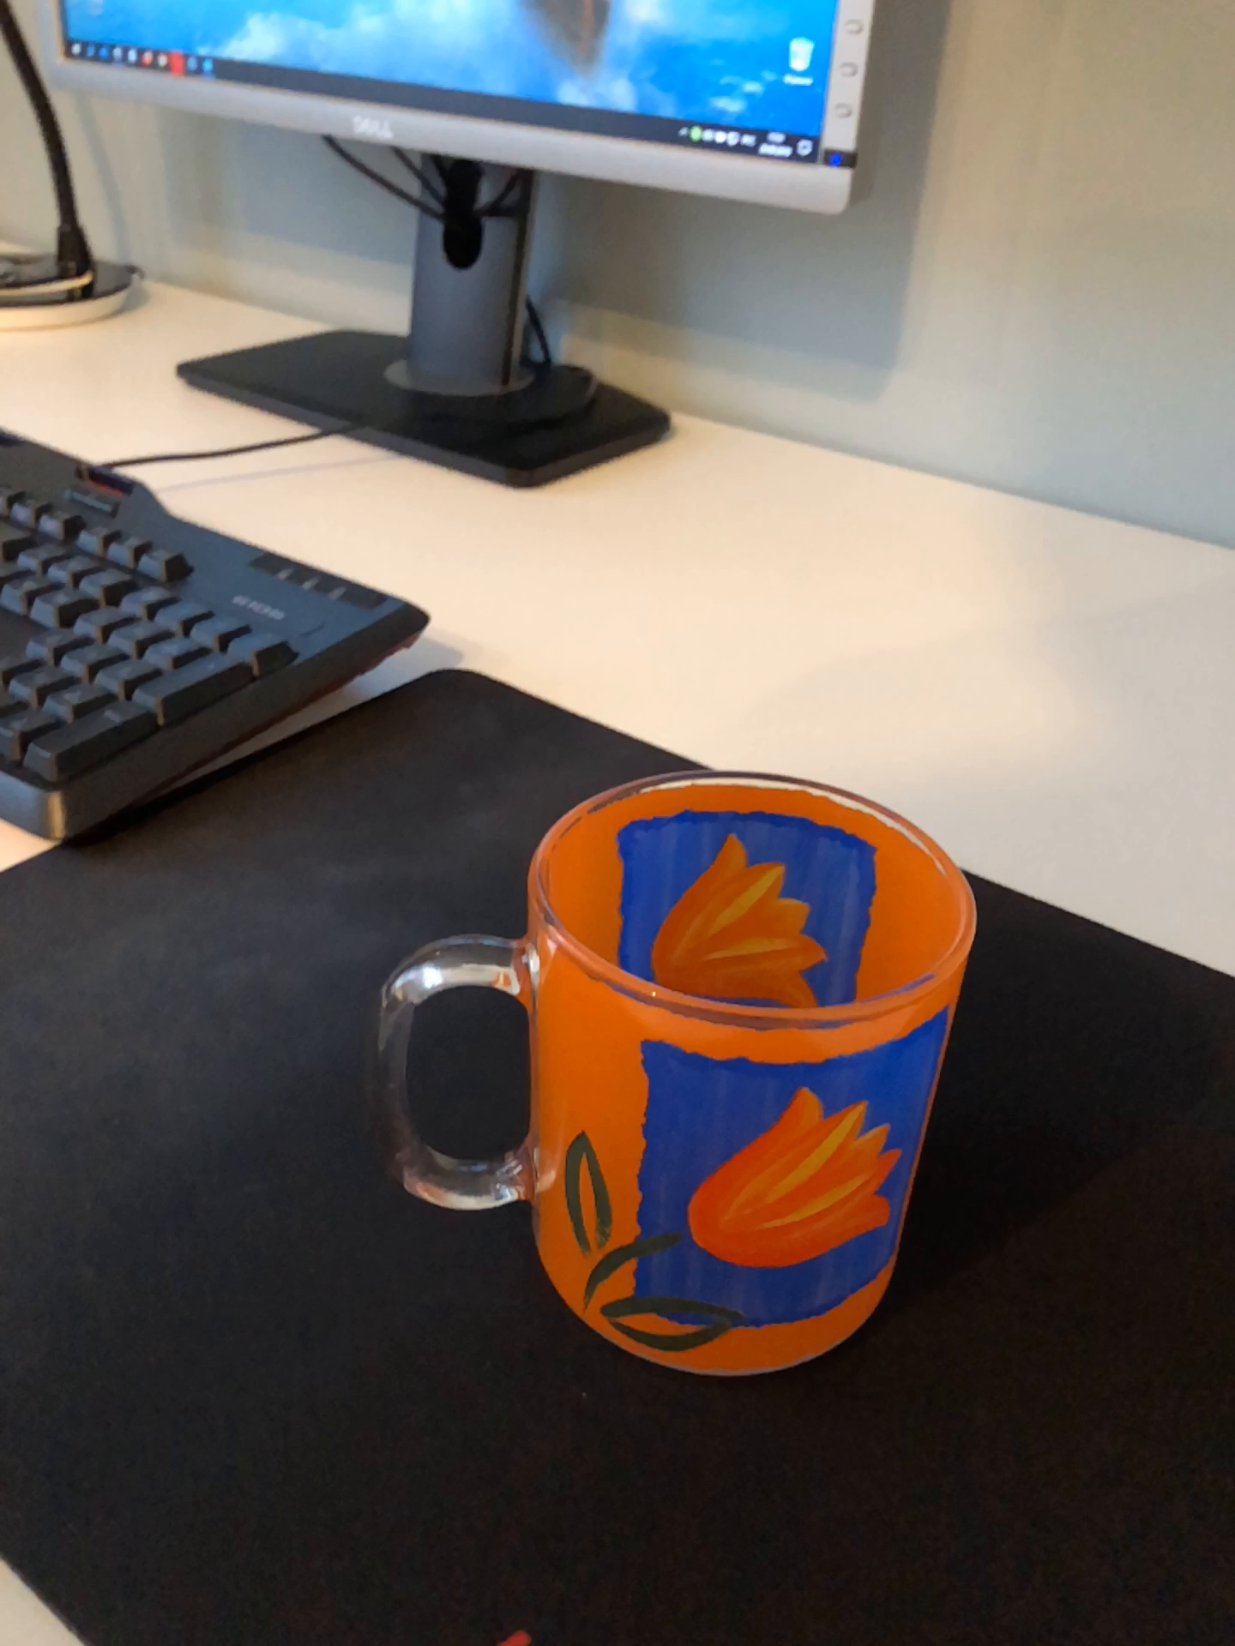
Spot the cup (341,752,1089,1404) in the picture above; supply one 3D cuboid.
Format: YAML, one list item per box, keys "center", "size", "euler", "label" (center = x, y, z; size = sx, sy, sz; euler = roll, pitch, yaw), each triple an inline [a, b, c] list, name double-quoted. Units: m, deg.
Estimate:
- center: [0.011, 0.045, 0.260]
  size: [0.114, 0.089, 0.076]
  euler: [-1, 32, -6]
  label: "cup"
